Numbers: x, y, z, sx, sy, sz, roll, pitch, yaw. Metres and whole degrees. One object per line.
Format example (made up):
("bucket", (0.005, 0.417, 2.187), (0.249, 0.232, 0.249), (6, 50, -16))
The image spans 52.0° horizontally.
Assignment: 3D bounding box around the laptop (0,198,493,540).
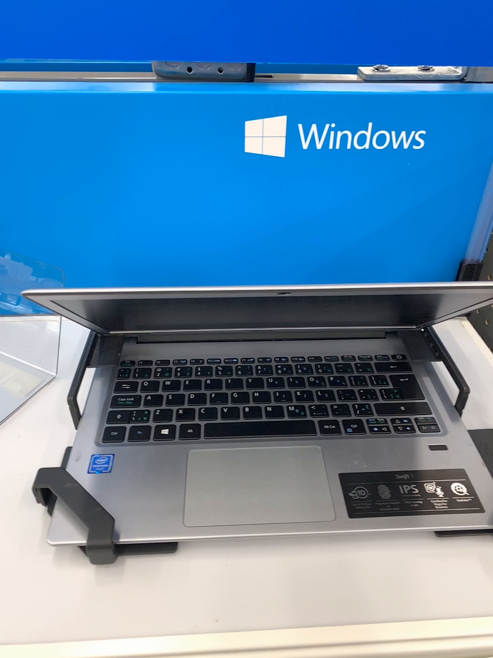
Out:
("laptop", (0.020, 0.015, 0.371), (0.307, 0.140, 0.198), (-1, 38, -2))
